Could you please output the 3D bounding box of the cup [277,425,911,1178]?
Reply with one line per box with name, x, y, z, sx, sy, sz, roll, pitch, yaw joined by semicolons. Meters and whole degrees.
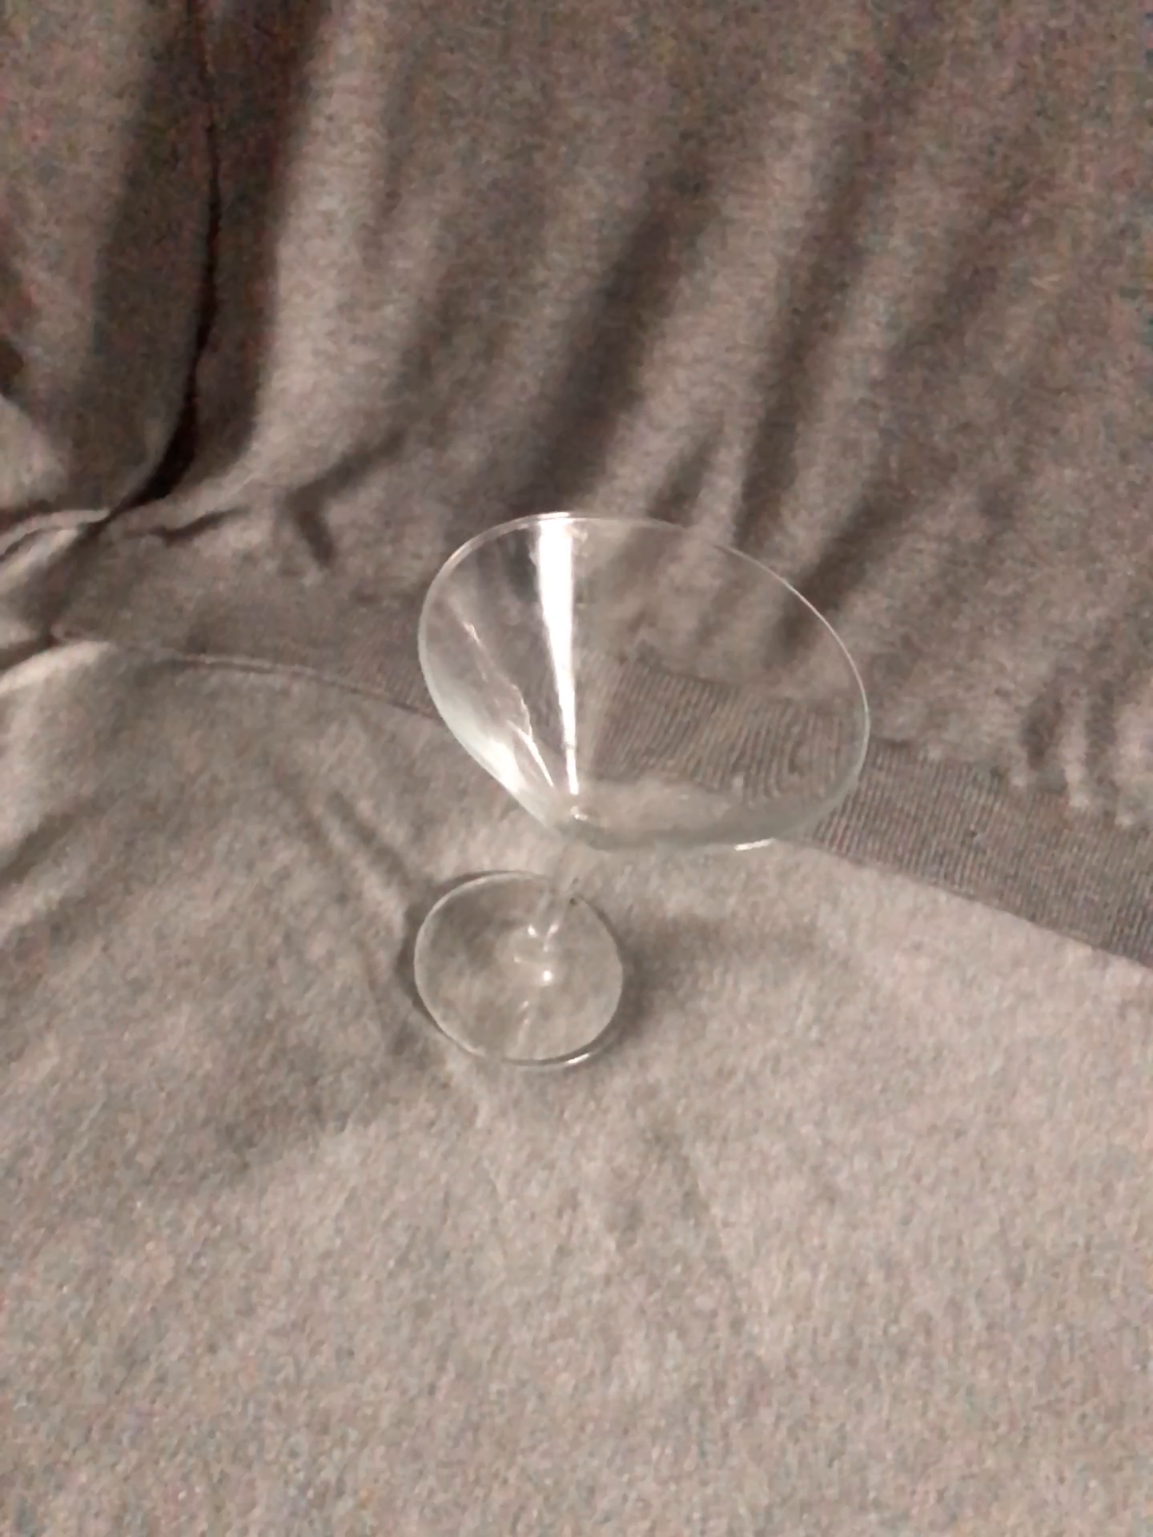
cup;-0.001;0.017;0.365;0.113;0.157;0.112;10;52;-12
